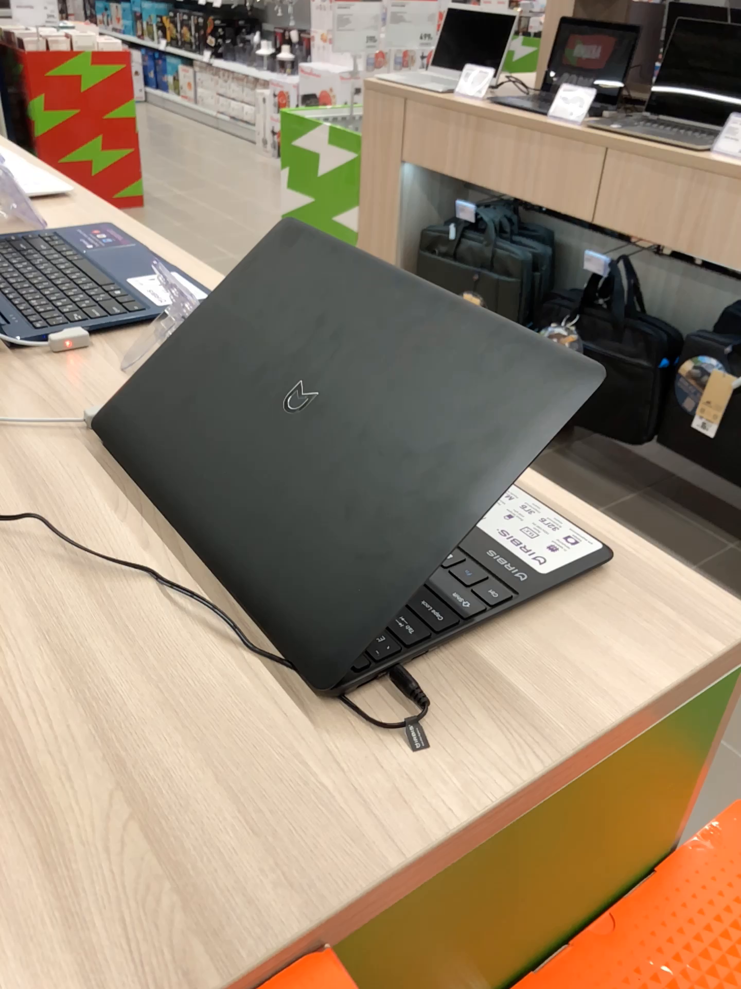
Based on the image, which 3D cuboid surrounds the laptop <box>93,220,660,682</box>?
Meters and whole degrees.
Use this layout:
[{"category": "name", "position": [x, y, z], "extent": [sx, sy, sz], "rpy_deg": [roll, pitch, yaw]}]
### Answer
[{"category": "laptop", "position": [-0.017, -0.061, 0.521], "extent": [0.203, 0.132, 0.300], "rpy_deg": [-19, 39, -31]}]
